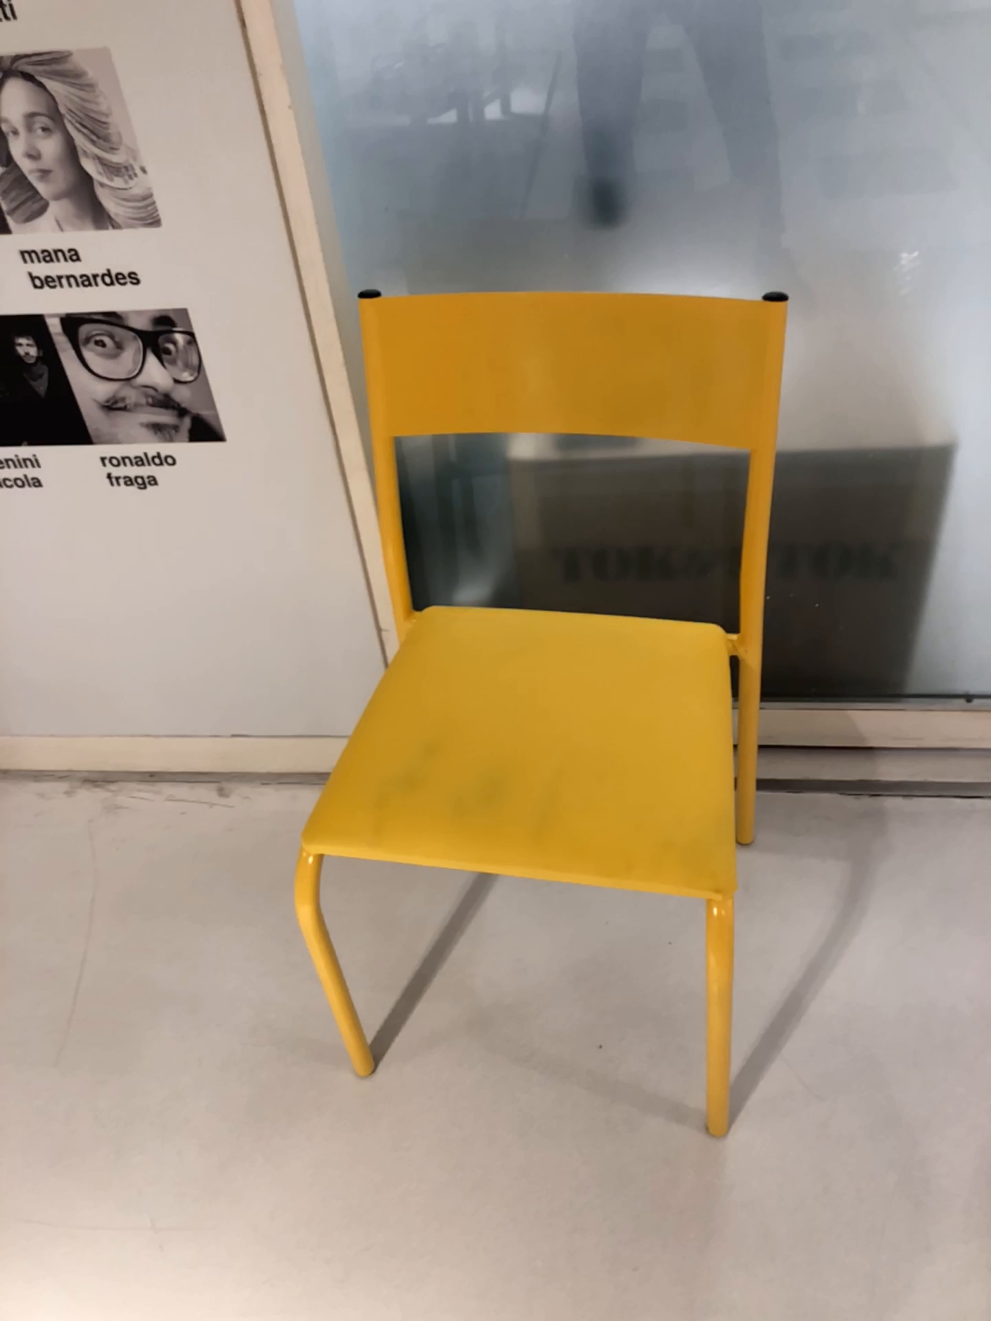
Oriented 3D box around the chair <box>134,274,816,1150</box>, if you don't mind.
[{"bbox_3d":[0.063,0.066,1.208,0.490,0.785,0.523,4,43,13],"label":"chair"}]
